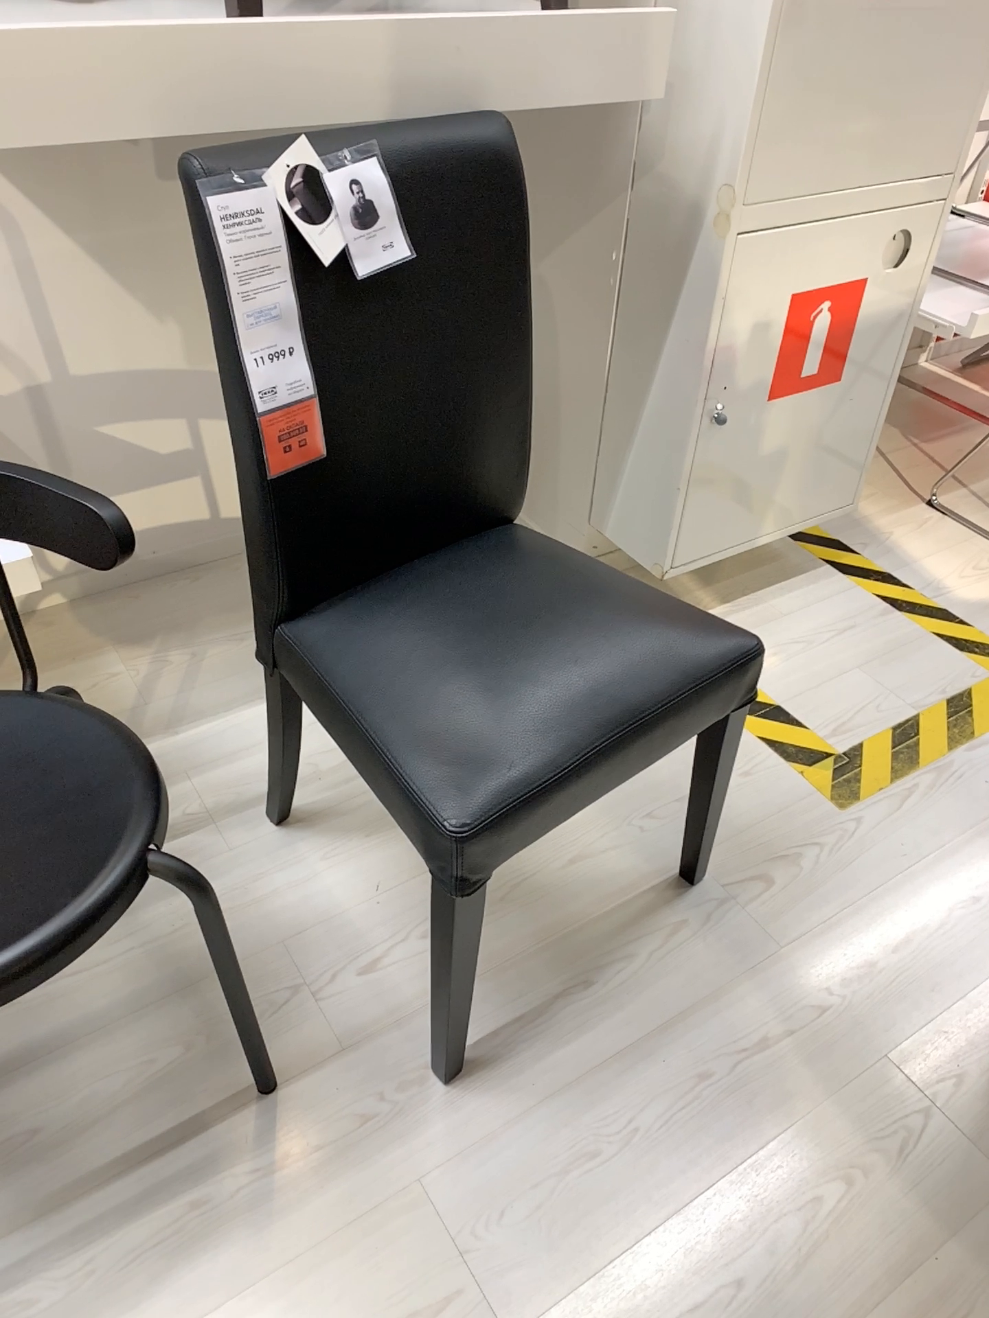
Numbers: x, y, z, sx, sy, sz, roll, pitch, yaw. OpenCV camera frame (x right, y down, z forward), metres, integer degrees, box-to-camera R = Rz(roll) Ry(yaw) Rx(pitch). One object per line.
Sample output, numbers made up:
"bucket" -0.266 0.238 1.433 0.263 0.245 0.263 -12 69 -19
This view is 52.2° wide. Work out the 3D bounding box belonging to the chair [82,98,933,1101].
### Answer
"chair" -0.017 -0.088 1.291 0.582 0.974 0.601 -28 48 -34
